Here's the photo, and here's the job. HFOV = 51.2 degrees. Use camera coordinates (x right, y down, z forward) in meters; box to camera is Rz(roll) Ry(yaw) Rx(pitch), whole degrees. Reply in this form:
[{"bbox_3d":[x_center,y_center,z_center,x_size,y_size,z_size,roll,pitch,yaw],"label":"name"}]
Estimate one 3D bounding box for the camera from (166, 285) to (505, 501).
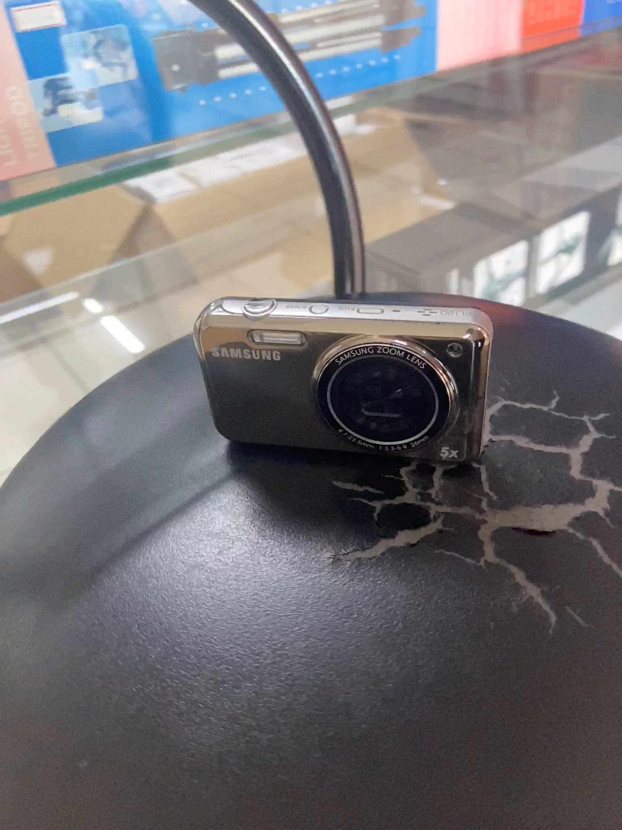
[{"bbox_3d":[0.010,-0.008,0.217,0.100,0.060,0.030,4,40,15],"label":"camera"}]
